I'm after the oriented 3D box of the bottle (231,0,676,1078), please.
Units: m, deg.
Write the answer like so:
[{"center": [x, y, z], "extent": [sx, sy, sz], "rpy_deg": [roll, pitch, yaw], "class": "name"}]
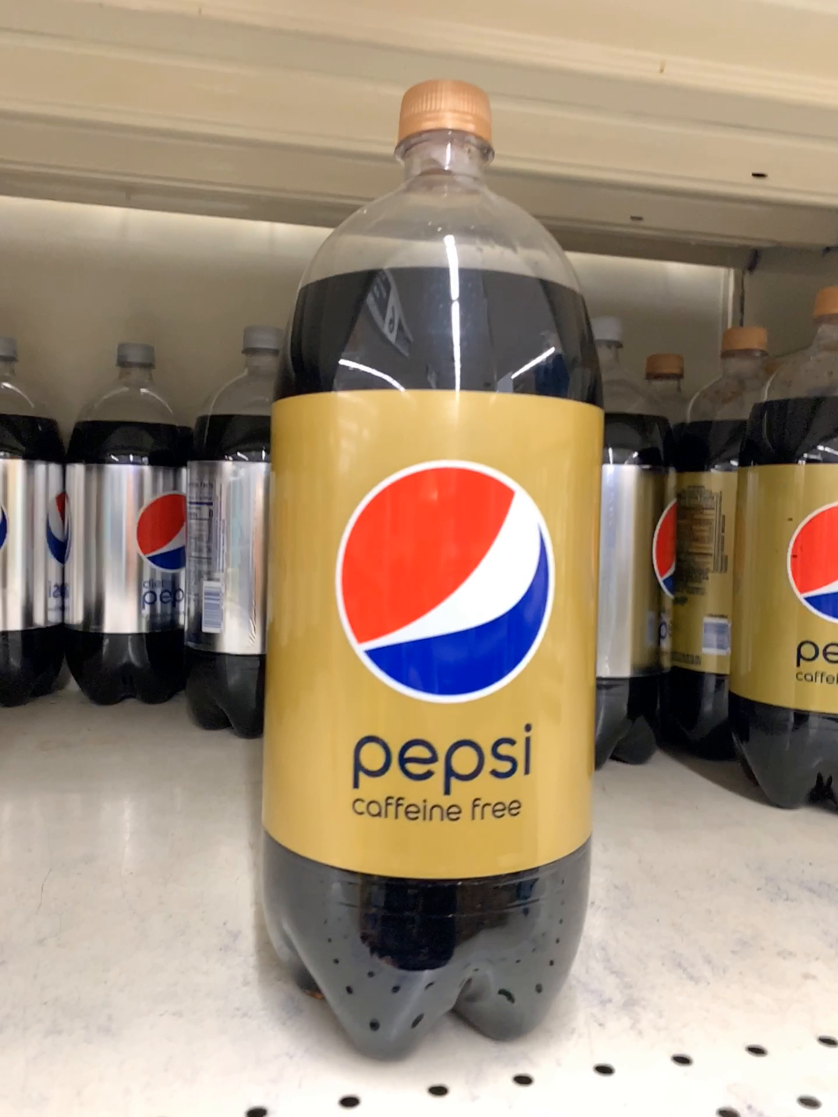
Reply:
[{"center": [0.003, -0.014, 0.283], "extent": [0.110, 0.300, 0.110], "rpy_deg": [2, 3, 0], "class": "bottle"}]
